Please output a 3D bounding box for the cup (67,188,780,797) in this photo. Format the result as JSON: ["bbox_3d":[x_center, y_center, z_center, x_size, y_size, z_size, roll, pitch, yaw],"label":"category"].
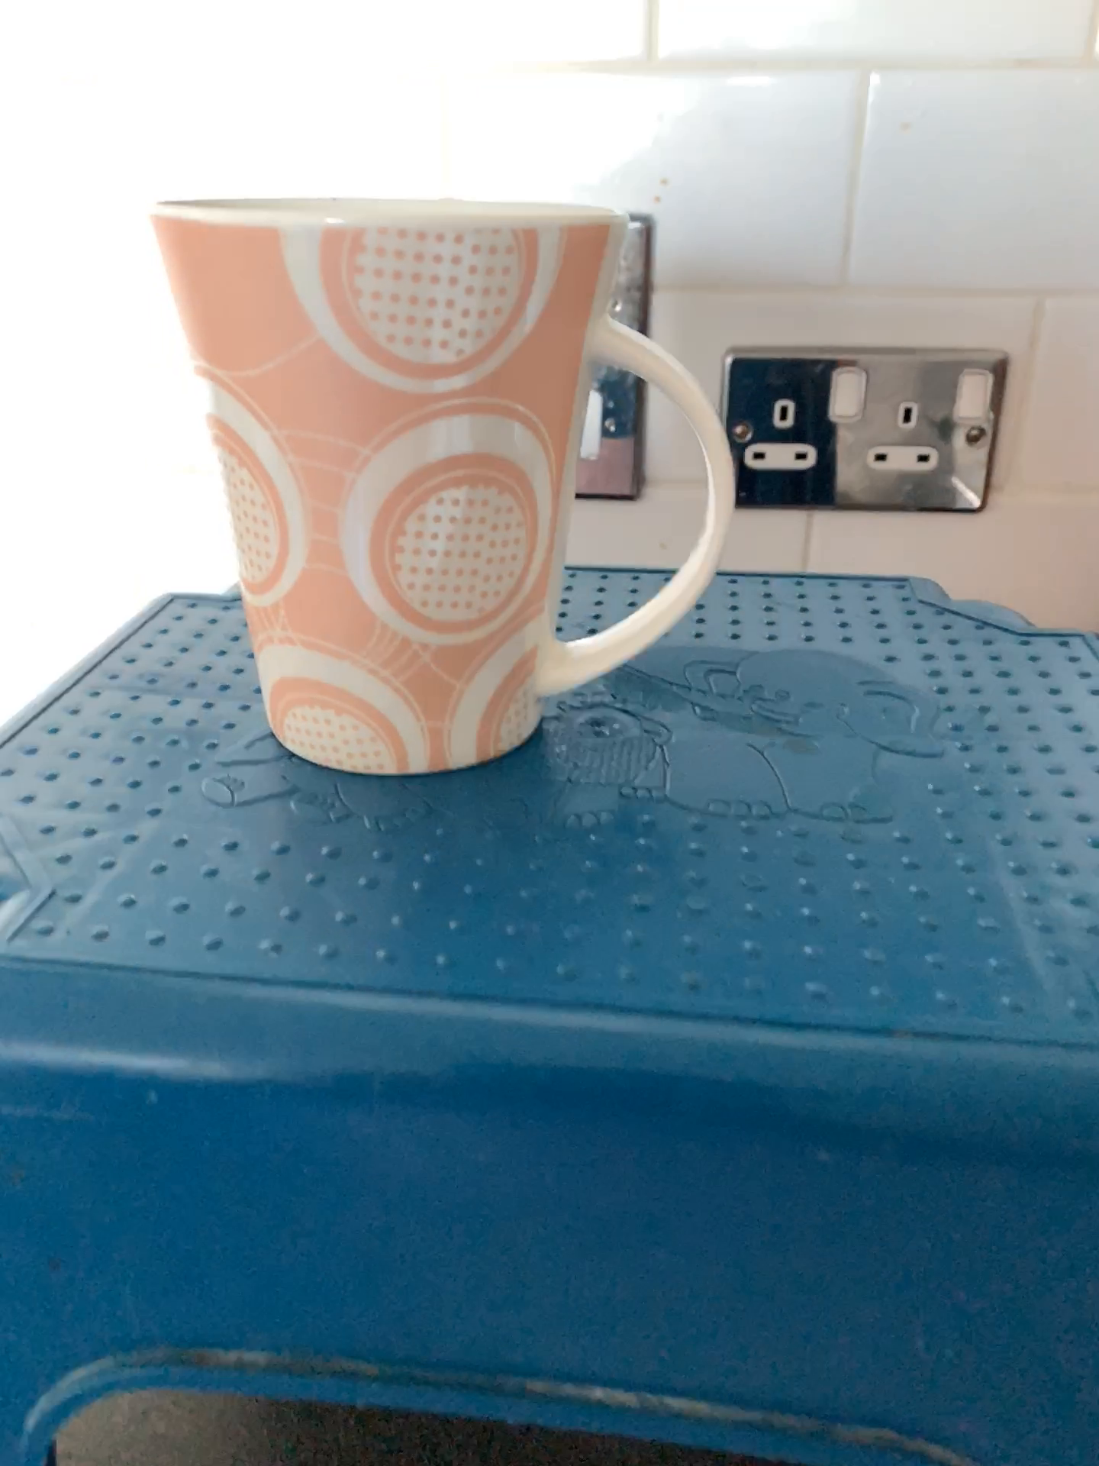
[{"bbox_3d":[-0.018,-0.055,0.240,0.116,0.105,0.078,3,27,5],"label":"cup"}]
